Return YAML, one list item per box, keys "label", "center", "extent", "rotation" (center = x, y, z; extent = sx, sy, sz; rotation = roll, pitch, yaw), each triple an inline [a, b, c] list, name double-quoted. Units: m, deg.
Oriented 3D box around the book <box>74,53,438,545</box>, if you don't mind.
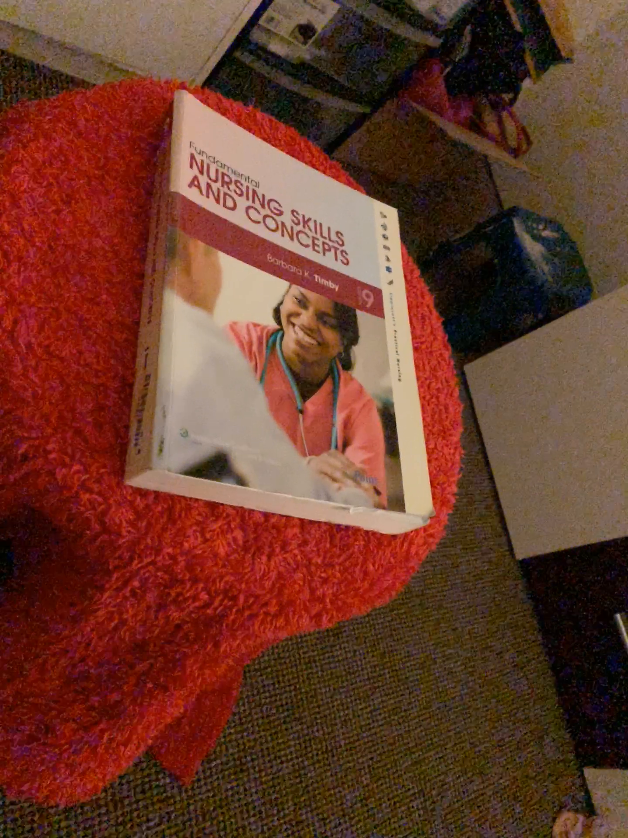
- label: "book"
  center: [-0.030, -0.077, 0.472]
  extent: [0.231, 0.069, 0.301]
  rotation: [16, 60, -35]
